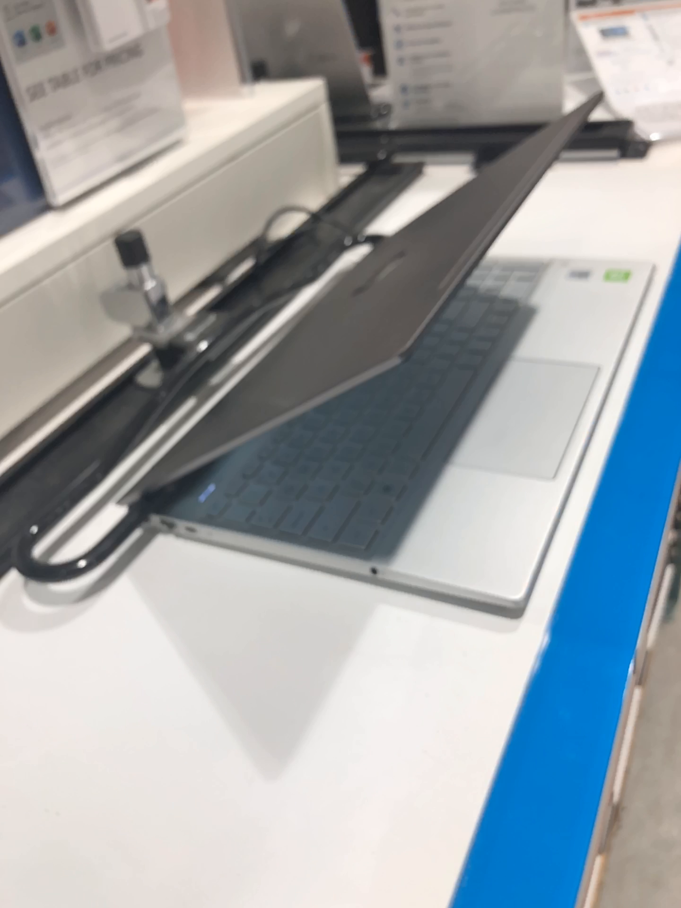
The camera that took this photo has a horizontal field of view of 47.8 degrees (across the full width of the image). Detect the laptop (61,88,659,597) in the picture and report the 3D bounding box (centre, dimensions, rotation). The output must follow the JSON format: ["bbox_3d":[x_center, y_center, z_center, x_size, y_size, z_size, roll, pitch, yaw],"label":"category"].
[{"bbox_3d":[0.048,-0.104,0.472,0.215,0.124,0.349,9,41,26],"label":"laptop"}]
